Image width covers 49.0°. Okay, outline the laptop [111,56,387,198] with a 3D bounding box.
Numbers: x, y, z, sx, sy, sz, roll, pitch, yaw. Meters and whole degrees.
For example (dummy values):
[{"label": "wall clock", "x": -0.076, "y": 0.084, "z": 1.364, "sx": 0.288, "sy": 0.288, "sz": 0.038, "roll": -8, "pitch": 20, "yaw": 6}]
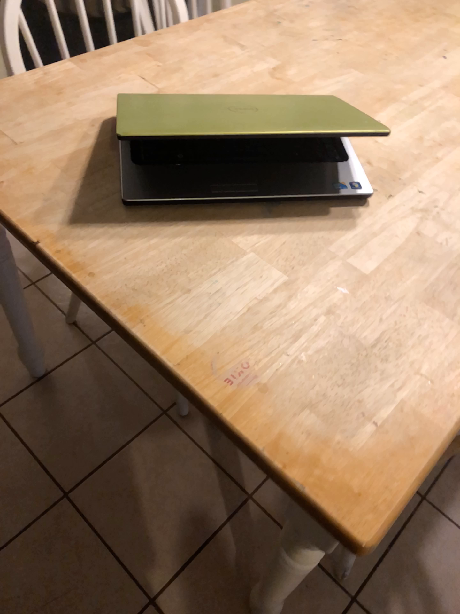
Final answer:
[{"label": "laptop", "x": 0.013, "y": -0.273, "z": 0.750, "sx": 0.358, "sy": 0.077, "sz": 0.228, "roll": -4, "pitch": 53, "yaw": -9}]
